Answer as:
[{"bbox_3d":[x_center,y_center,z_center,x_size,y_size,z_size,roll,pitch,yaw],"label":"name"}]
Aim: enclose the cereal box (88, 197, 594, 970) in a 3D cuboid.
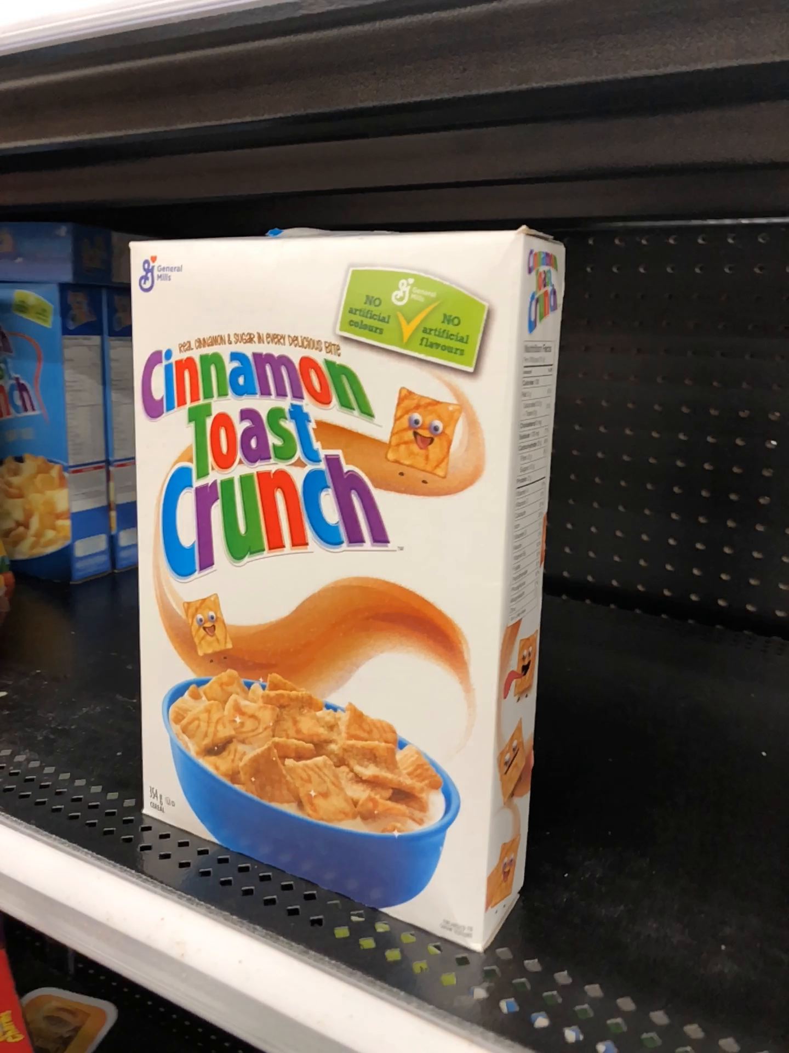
[{"bbox_3d":[-0.035,0.013,0.377,0.210,0.279,0.050,9,13,29],"label":"cereal box"}]
